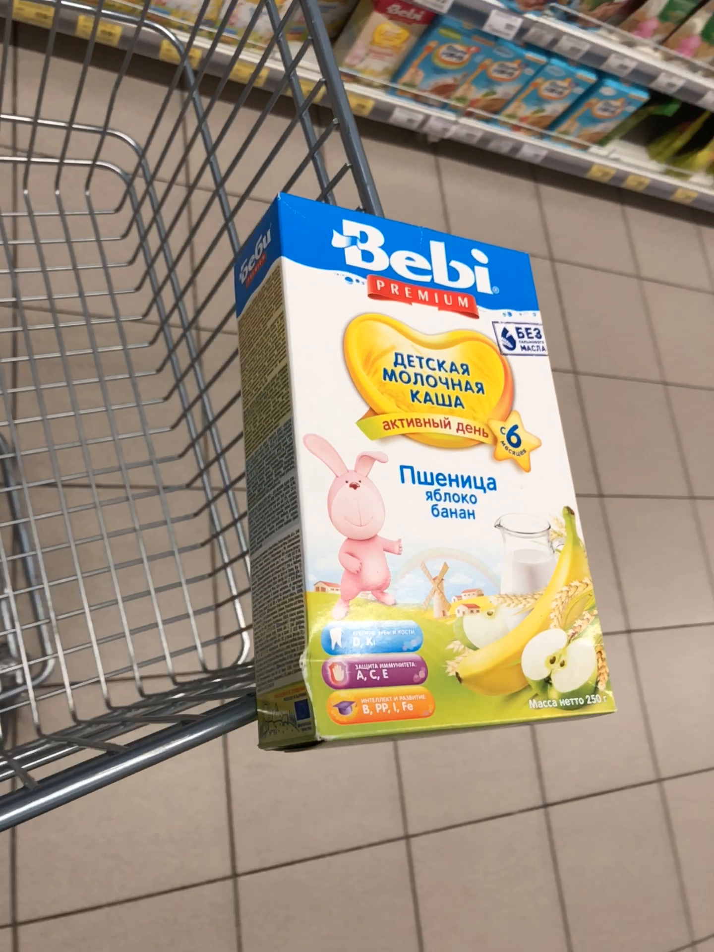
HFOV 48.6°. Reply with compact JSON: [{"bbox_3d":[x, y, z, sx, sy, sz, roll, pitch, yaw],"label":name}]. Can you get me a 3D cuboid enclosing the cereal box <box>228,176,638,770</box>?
[{"bbox_3d":[0.023,-0.002,0.314,0.130,0.050,0.210,4,69,-26],"label":"cereal box"}]
